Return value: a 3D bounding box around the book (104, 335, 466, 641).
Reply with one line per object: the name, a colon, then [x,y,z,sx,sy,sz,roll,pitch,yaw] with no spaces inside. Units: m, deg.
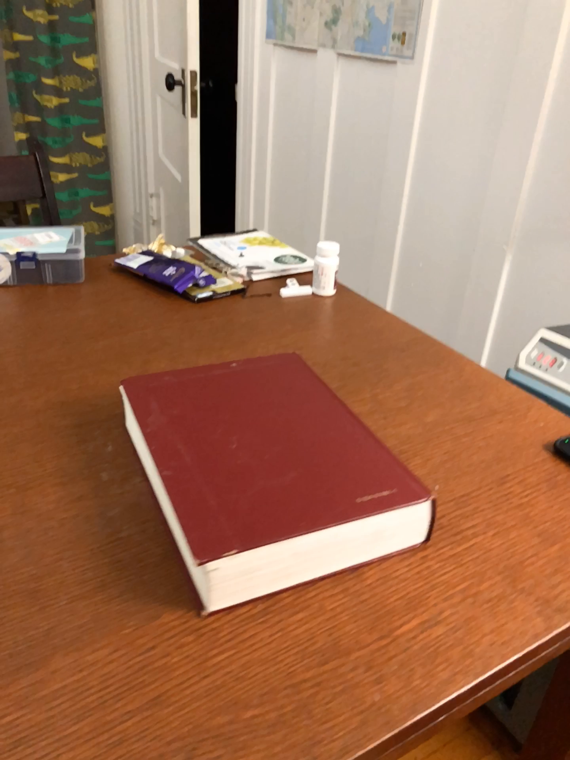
book: [-0.023,0.064,0.569,0.220,0.070,0.291,-9,32,-23]
